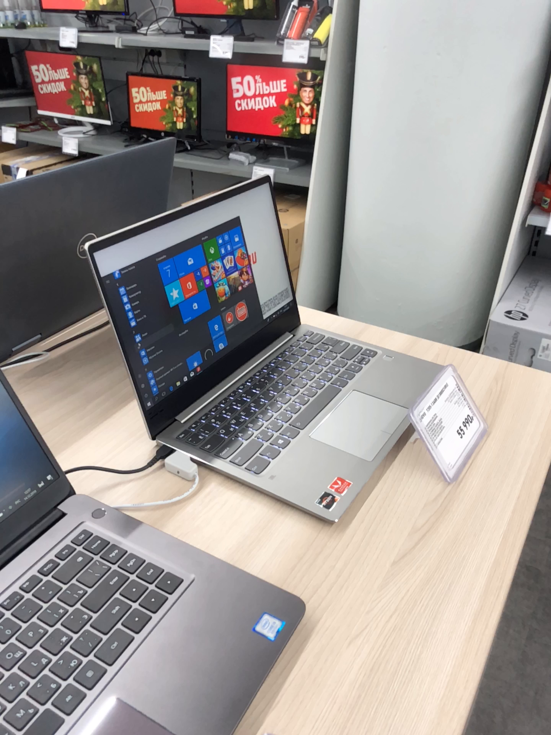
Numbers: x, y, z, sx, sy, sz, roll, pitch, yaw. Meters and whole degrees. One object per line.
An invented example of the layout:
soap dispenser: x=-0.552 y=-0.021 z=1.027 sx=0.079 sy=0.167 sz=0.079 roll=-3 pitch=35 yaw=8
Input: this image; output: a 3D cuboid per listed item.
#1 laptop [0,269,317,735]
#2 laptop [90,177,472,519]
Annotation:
laptop: x=-0.209 y=0.127 z=0.328 sx=0.340 sy=0.188 sz=0.346 roll=17 pitch=35 yaw=24
laptop: x=0.020 y=-0.053 z=0.632 sx=0.262 sy=0.187 sz=0.286 roll=19 pitch=36 yaw=26
